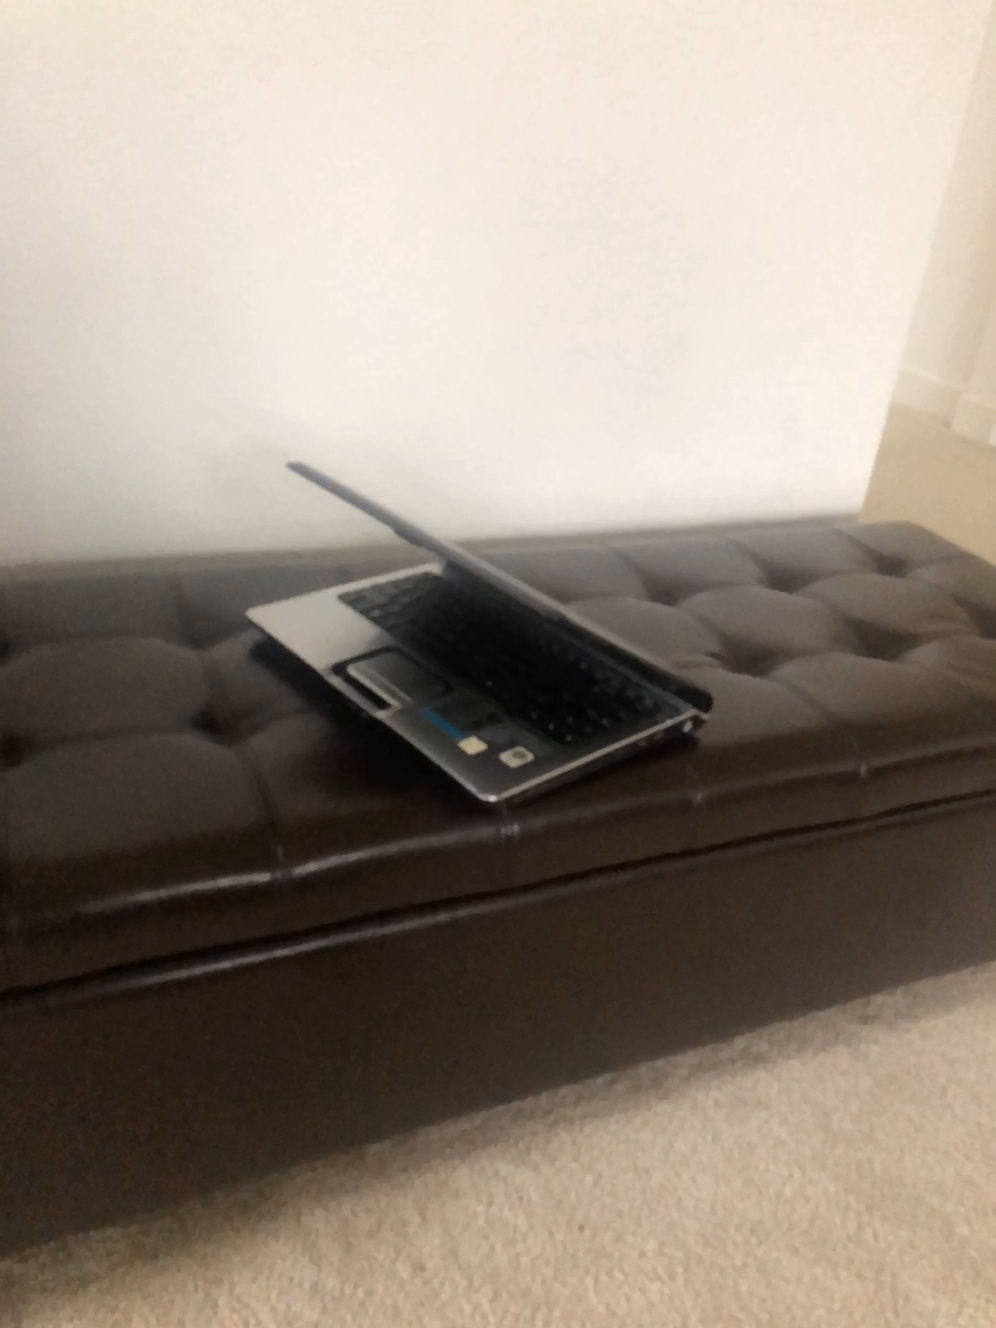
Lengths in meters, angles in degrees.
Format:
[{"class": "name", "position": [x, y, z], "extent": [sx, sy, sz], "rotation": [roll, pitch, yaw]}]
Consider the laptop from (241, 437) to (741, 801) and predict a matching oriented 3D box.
[{"class": "laptop", "position": [-0.020, -0.062, 0.849], "extent": [0.230, 0.122, 0.333], "rotation": [-17, 35, -37]}]
